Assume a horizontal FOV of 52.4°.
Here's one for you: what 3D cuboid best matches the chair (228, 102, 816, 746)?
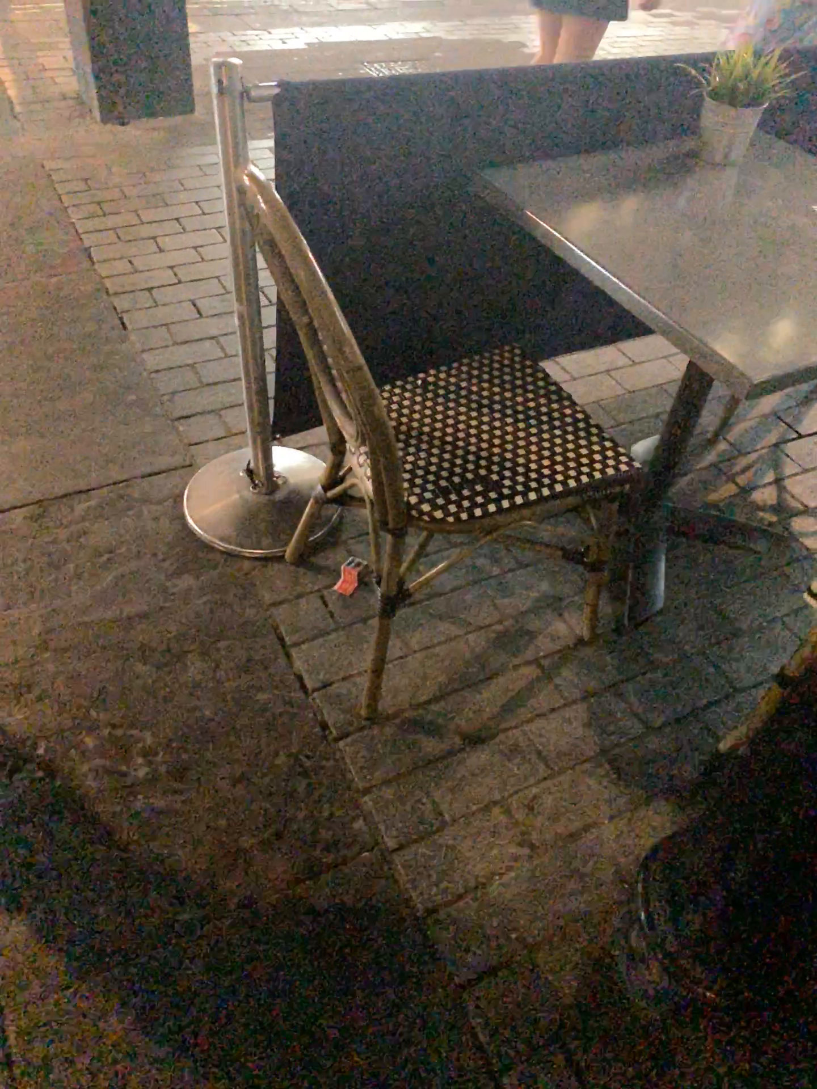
[{"bbox_3d":[0.102,-0.194,1.365,0.601,0.792,0.514,-16,49,-22],"label":"chair"}]
